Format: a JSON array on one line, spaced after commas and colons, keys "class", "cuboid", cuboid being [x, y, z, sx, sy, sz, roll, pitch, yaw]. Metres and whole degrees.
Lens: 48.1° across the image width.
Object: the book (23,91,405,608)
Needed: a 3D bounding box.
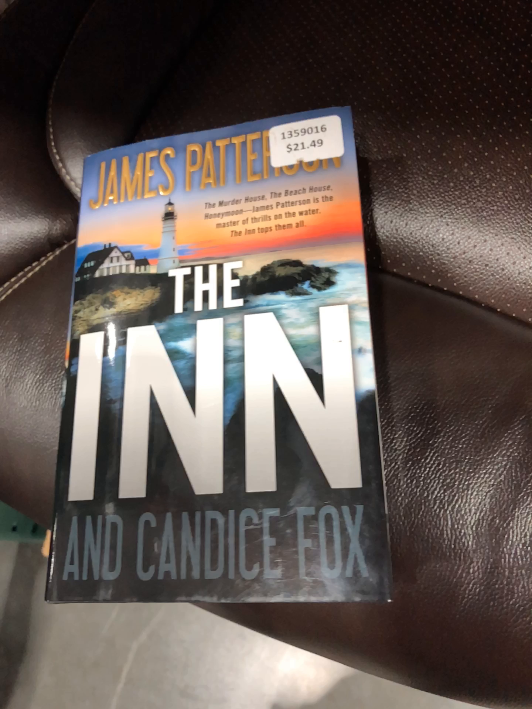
[{"class": "book", "cuboid": [-0.027, -0.005, 0.311, 0.170, 0.040, 0.250, -6, 71, 14]}]
